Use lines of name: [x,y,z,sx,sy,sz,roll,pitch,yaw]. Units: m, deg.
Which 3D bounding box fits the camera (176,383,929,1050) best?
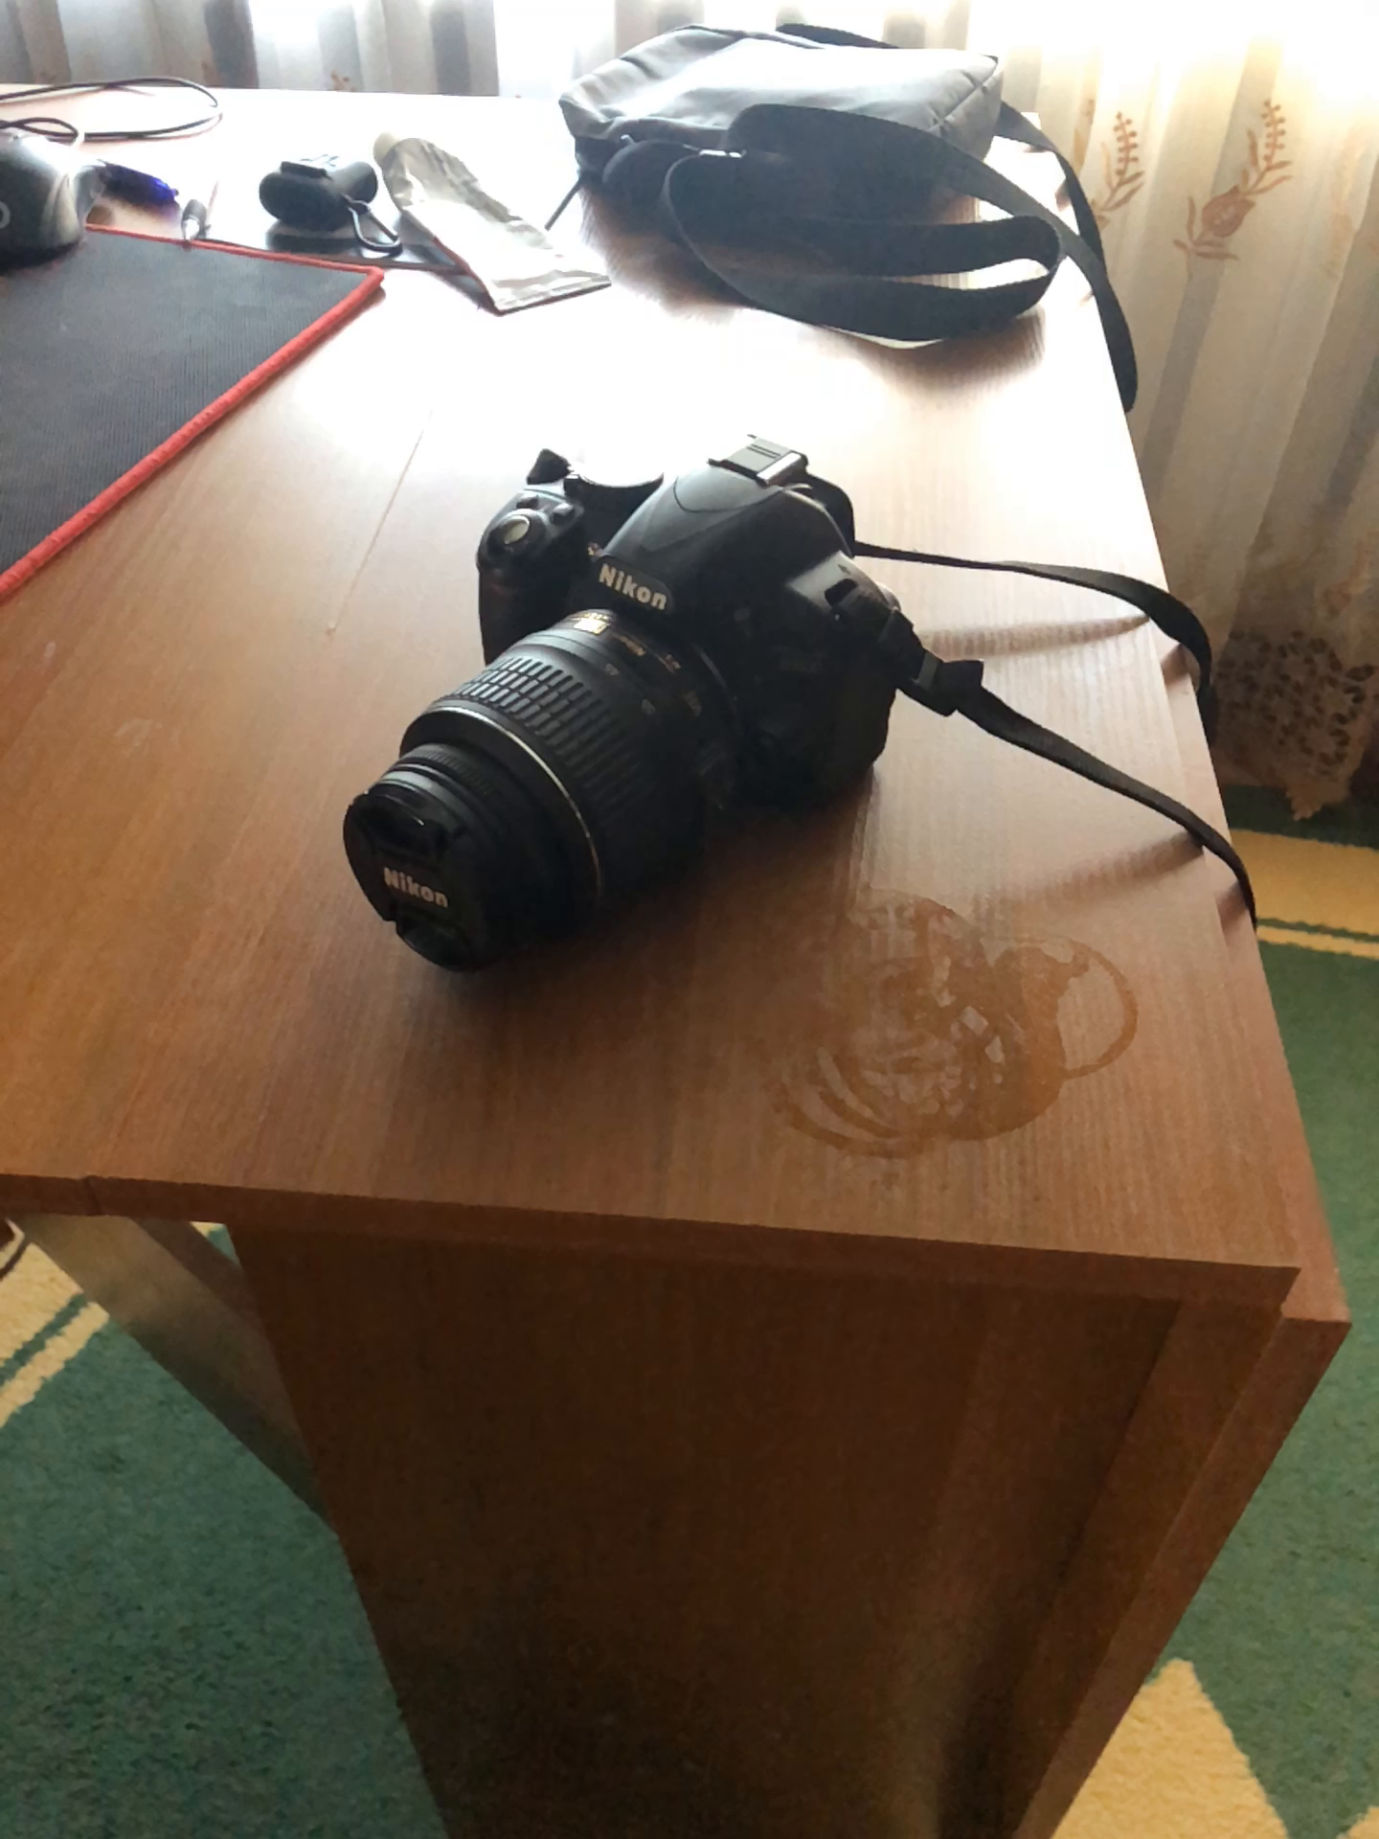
camera: [-0.030,-0.065,0.414,0.111,0.078,0.162,29,51,26]
